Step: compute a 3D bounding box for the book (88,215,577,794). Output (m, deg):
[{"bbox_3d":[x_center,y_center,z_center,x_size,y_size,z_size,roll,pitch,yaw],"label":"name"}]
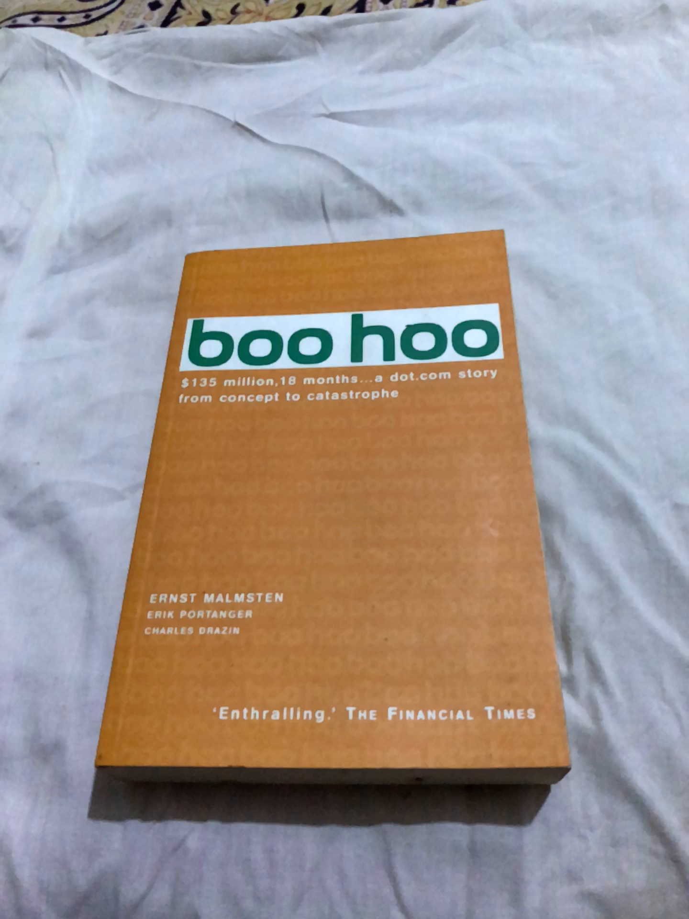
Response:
[{"bbox_3d":[-0.002,0.006,0.270,0.130,0.040,0.200,-3,59,7],"label":"book"}]
